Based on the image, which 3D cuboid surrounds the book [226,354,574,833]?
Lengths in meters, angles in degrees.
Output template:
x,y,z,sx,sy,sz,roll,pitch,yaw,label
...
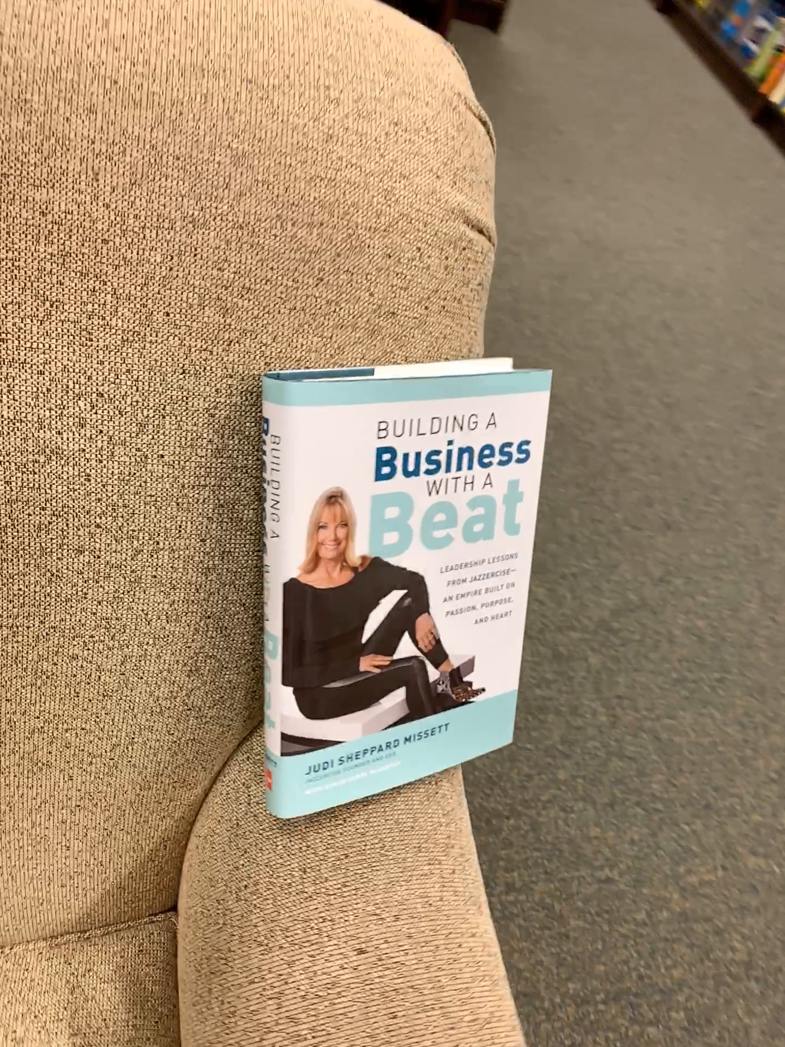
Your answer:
x,y,z,sx,sy,sz,roll,pitch,yaw,label
0.006,0.033,0.432,0.170,0.229,0.040,-9,23,-27,book
